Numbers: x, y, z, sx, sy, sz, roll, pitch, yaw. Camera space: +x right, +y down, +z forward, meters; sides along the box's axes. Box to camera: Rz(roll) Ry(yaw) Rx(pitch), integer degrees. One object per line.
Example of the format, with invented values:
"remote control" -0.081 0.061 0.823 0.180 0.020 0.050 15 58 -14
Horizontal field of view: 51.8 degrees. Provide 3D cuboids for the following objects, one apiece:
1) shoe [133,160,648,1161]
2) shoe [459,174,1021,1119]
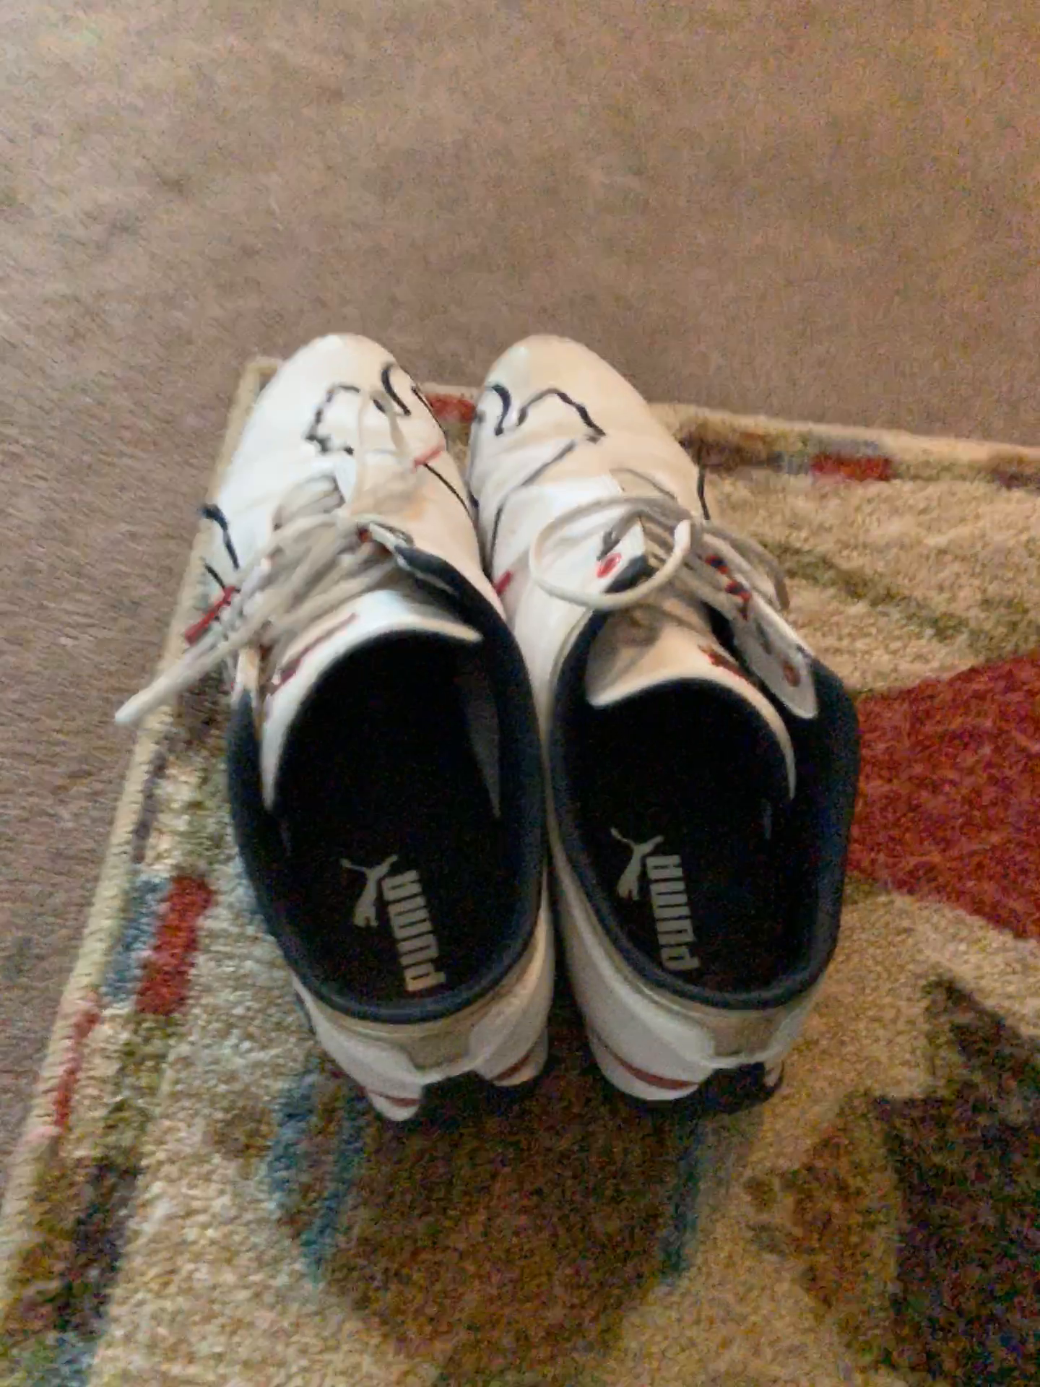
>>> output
"shoe" -0.052 -0.021 0.339 0.100 0.107 0.291 -8 64 -9
"shoe" 0.045 -0.026 0.354 0.100 0.107 0.292 -4 64 -7
